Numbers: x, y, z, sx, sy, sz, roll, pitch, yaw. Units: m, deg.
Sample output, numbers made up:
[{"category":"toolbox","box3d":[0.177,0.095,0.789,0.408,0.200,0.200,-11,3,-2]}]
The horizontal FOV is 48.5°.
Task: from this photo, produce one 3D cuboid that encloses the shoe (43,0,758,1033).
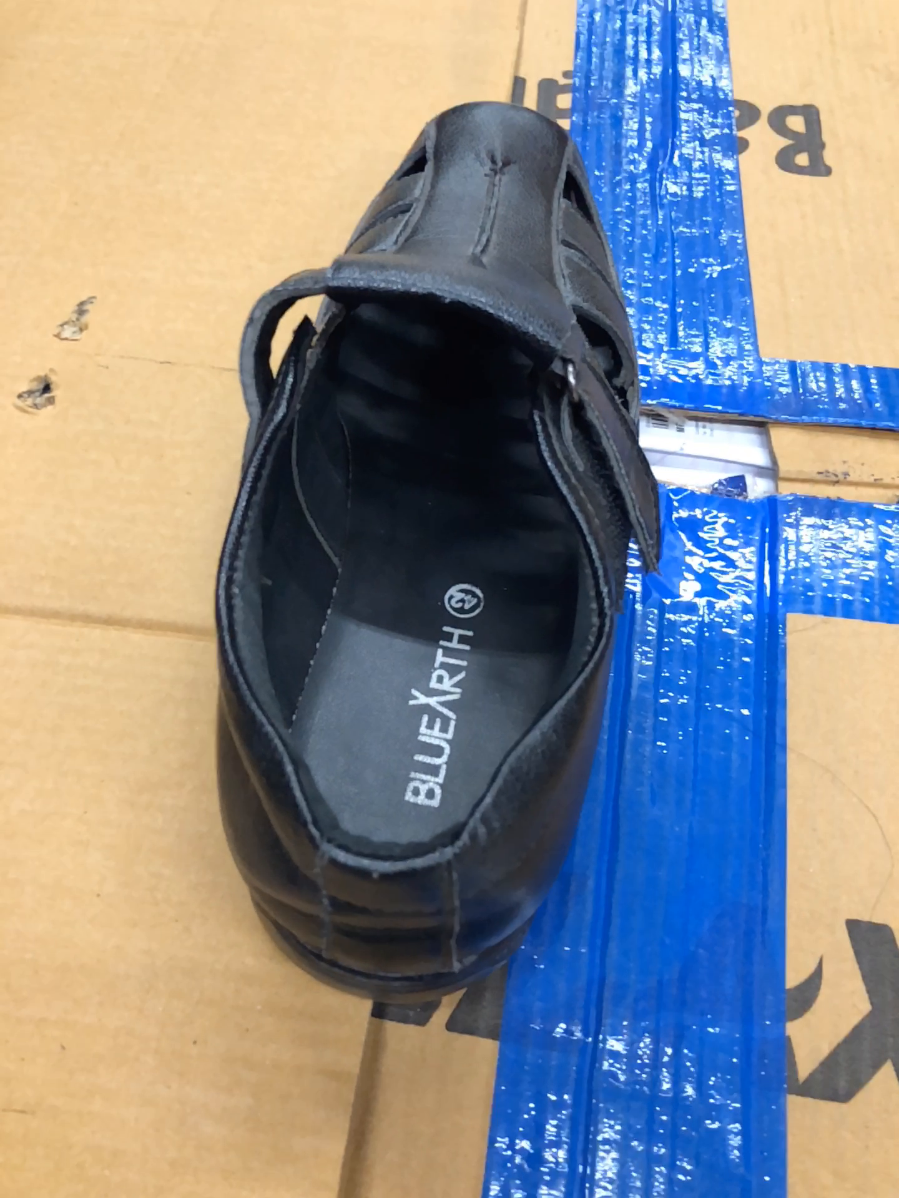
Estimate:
[{"category":"shoe","box3d":[0.006,-0.061,0.258,0.100,0.100,0.301,5,60,1]}]
